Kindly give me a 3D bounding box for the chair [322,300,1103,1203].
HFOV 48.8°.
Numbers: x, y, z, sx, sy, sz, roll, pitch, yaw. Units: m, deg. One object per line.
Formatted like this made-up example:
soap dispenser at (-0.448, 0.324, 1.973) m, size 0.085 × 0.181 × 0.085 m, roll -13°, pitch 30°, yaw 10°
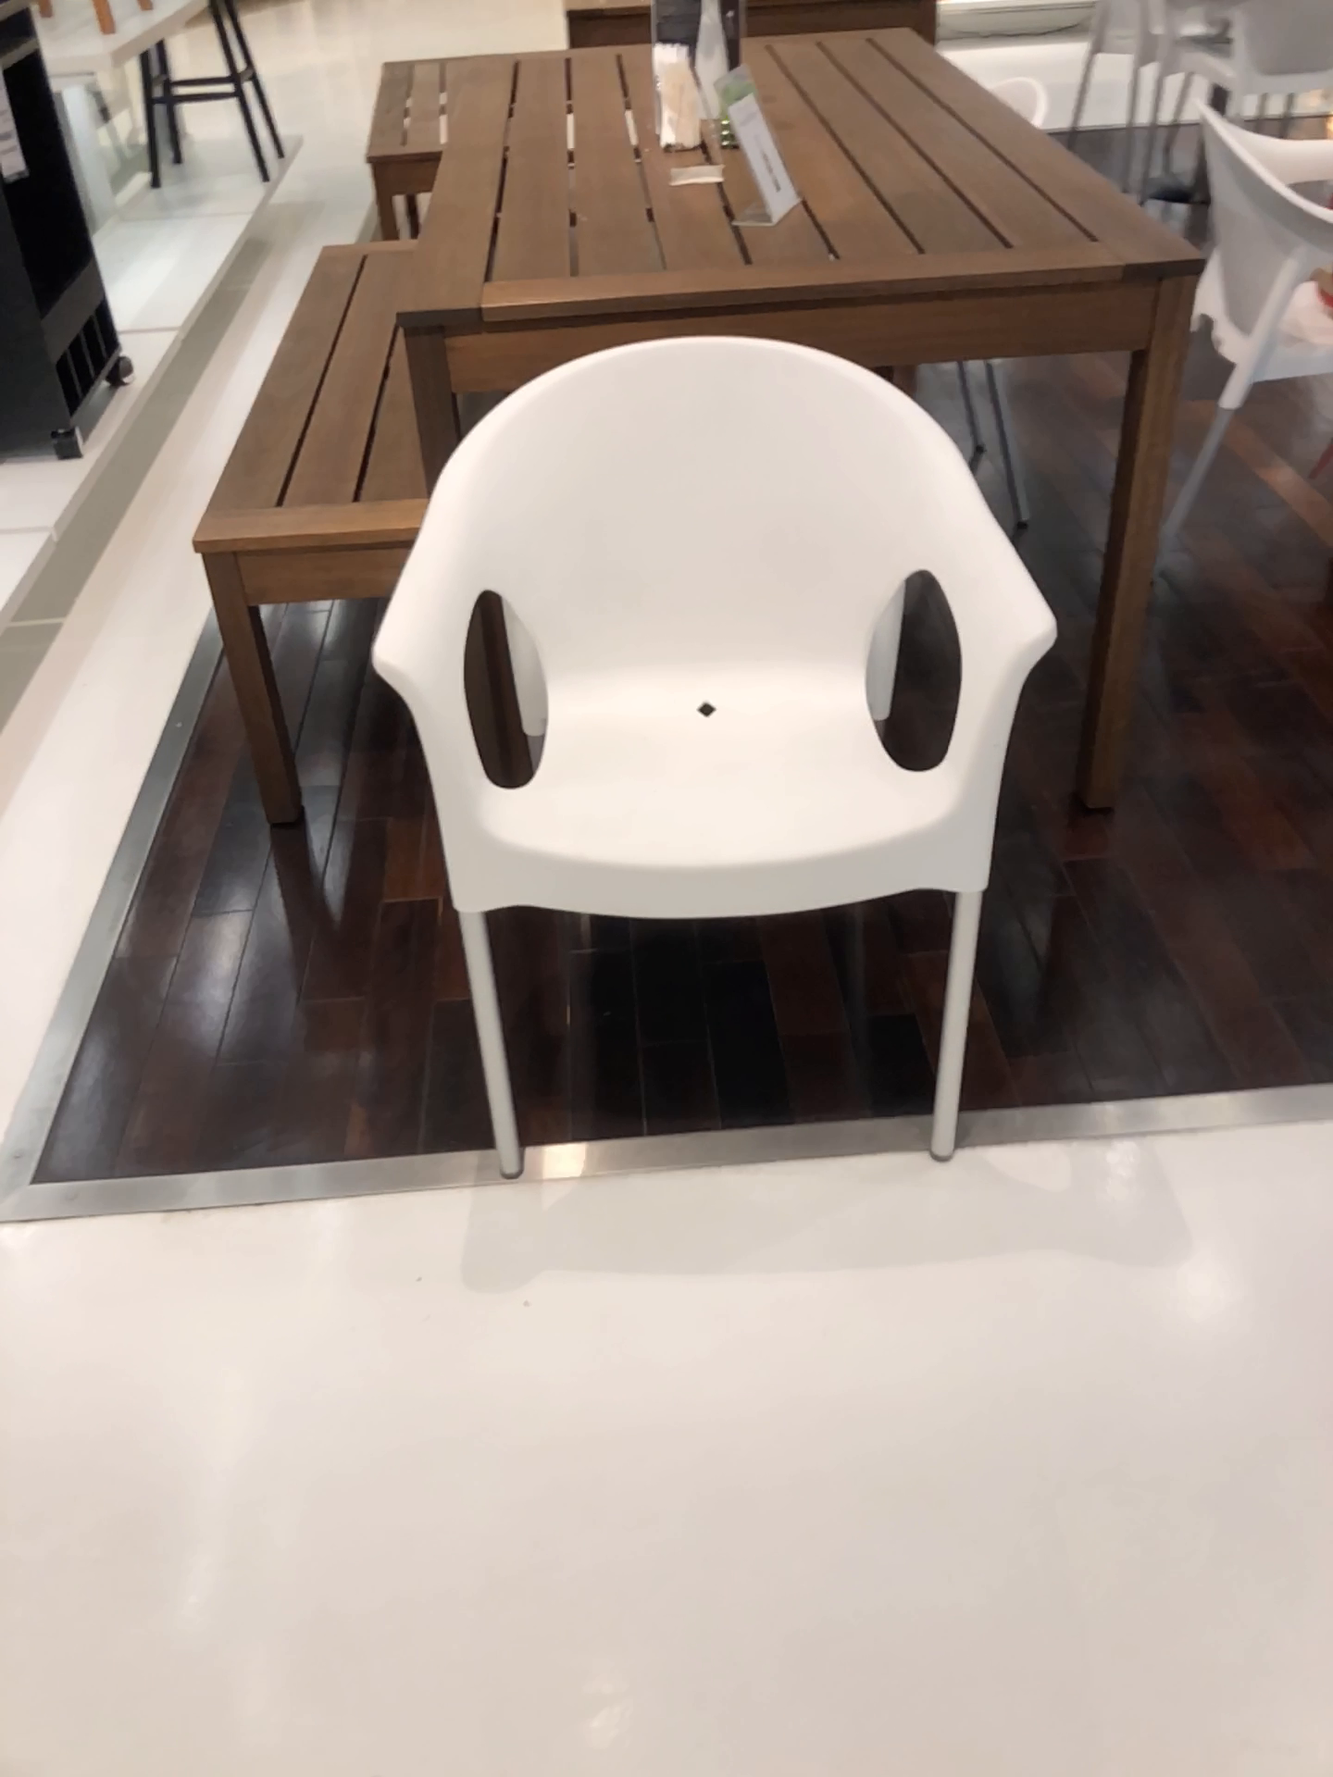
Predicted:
chair at (0.041, -0.146, 1.525) m, size 0.580 × 0.704 × 0.564 m, roll -4°, pitch 37°, yaw 0°
